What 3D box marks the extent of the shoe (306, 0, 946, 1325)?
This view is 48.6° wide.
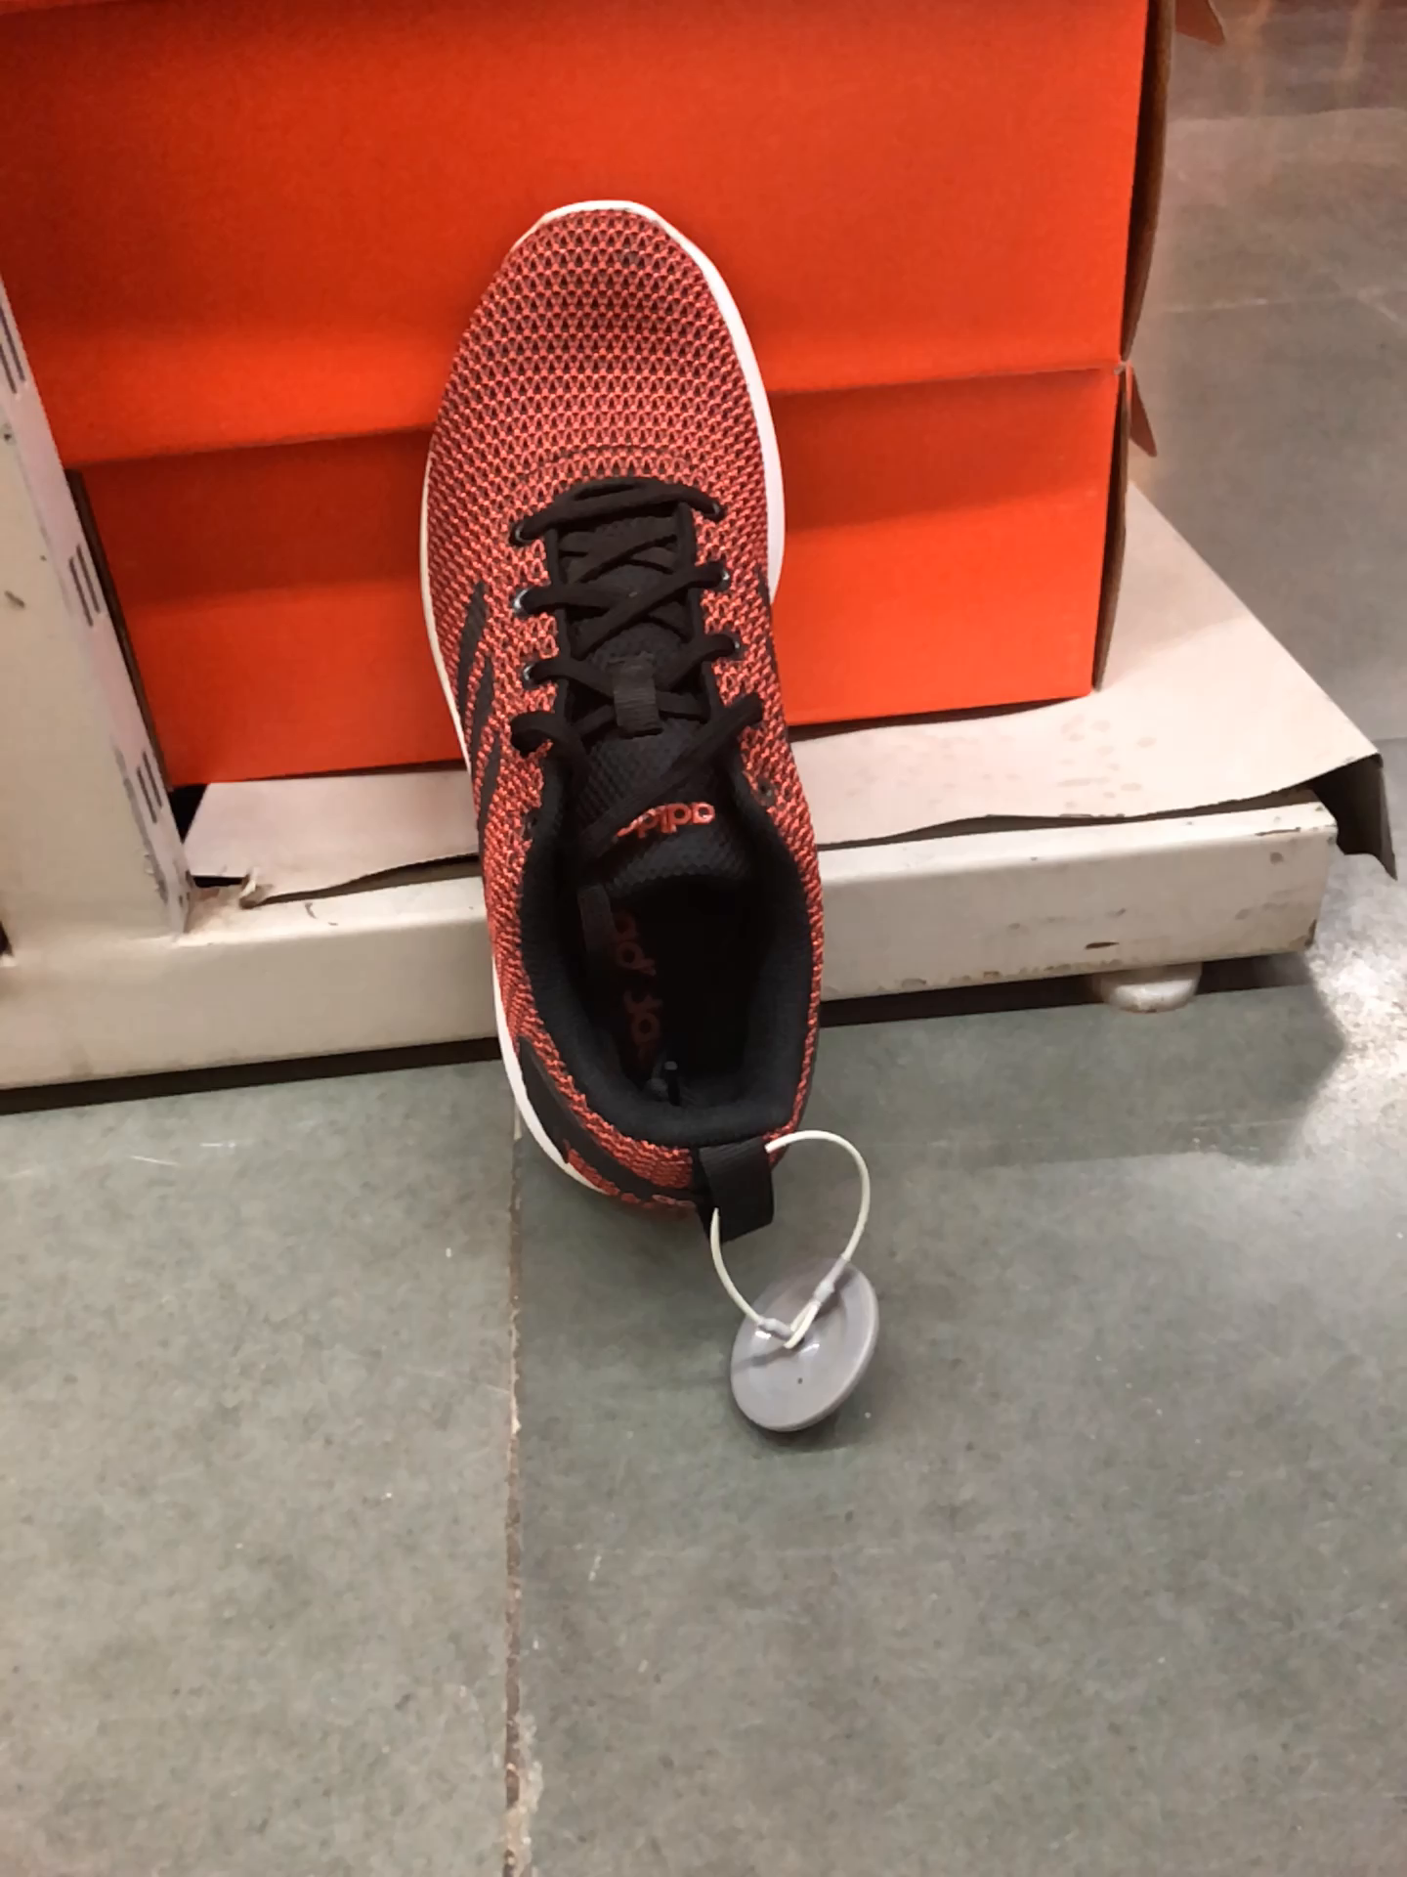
[{"bbox_3d":[-0.018,-0.063,0.383,0.110,0.271,0.133,-4,2,-3],"label":"shoe"}]
